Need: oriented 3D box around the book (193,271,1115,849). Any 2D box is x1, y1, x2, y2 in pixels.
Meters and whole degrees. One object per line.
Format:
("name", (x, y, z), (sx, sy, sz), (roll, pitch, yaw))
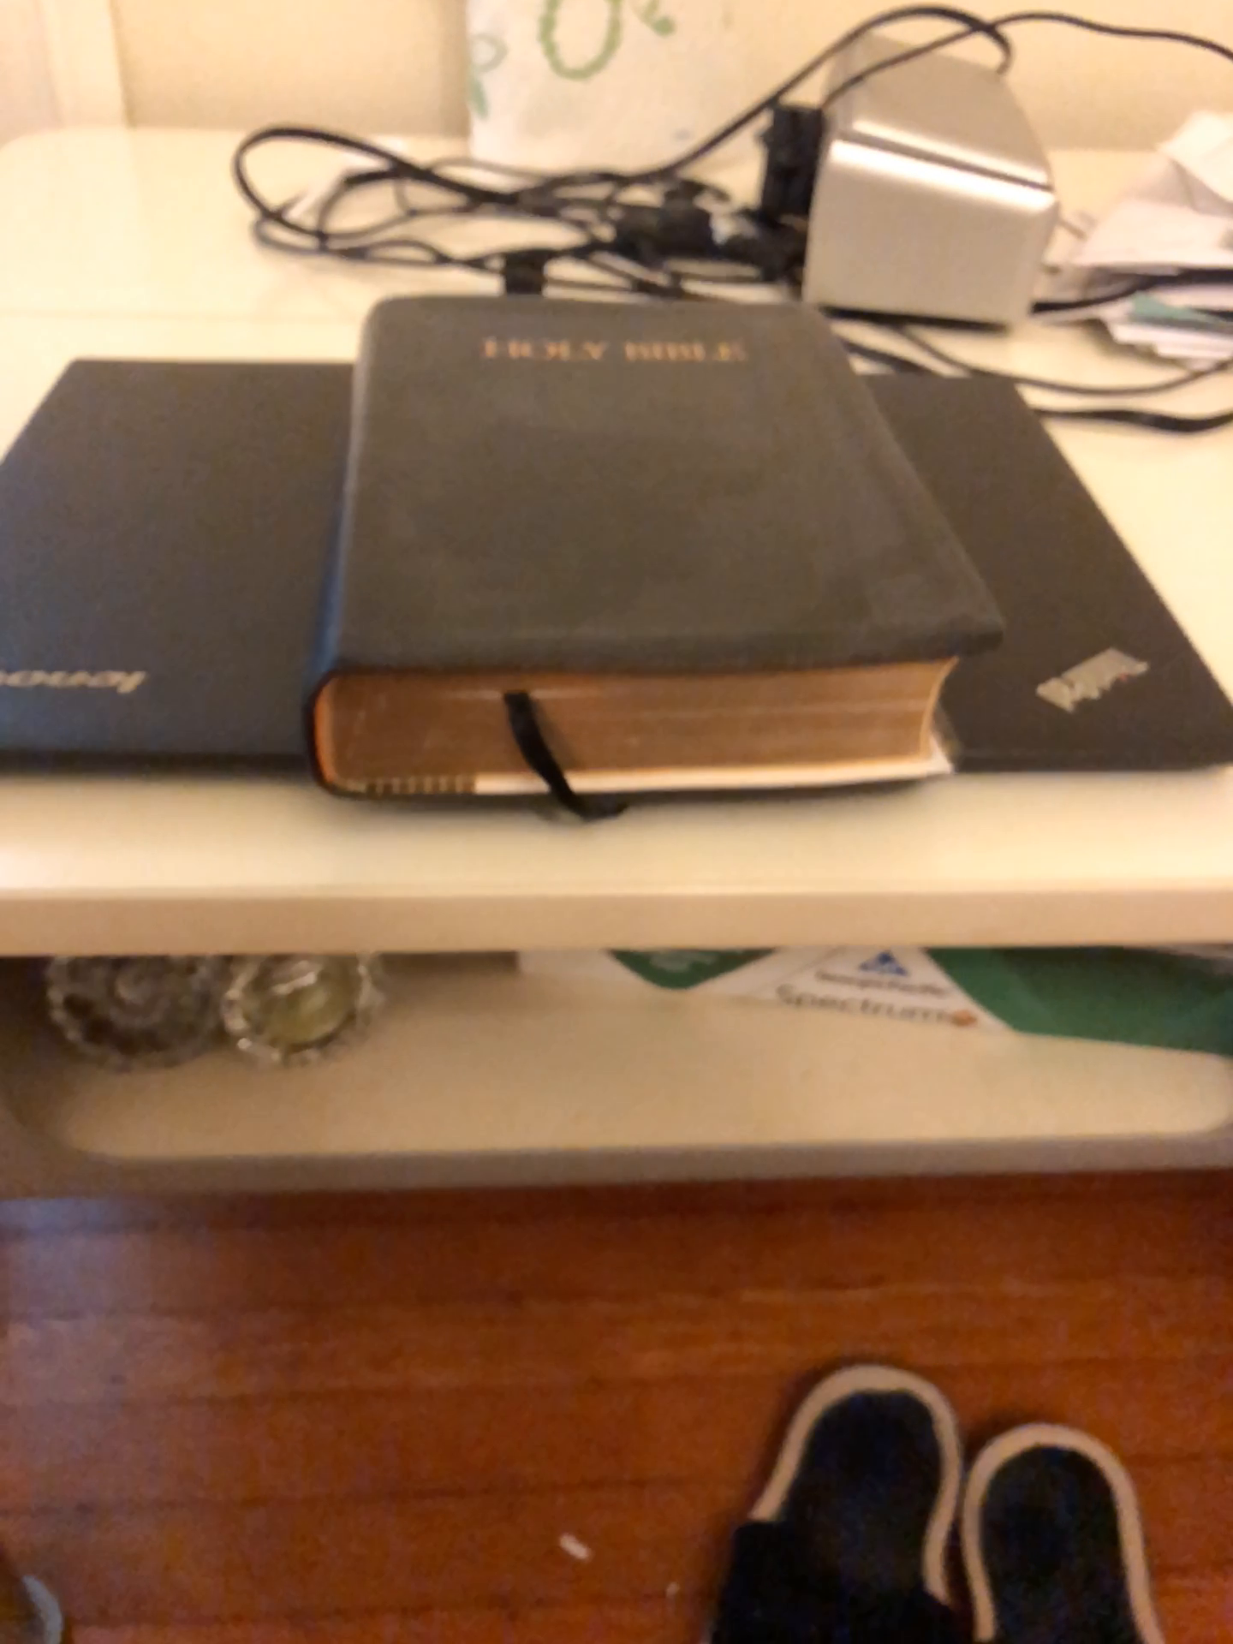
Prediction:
("book", (-0.001, -0.086, 0.362), (0.170, 0.040, 0.242), (-1, 38, -5))
